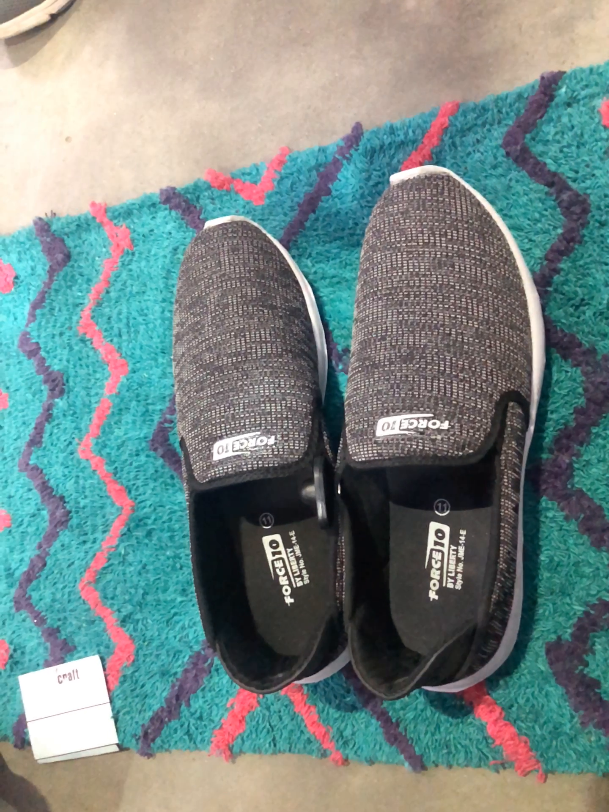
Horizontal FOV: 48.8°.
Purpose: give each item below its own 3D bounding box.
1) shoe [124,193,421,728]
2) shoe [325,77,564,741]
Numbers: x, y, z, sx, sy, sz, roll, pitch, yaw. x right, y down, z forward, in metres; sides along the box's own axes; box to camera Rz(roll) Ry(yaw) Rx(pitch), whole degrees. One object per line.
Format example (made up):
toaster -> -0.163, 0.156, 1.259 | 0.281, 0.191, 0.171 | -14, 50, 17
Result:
shoe -> -0.022, 0.034, 0.445 | 0.110, 0.100, 0.300 | -16, 78, 21
shoe -> 0.084, 0.000, 0.399 | 0.110, 0.100, 0.330 | -3, 83, 23
